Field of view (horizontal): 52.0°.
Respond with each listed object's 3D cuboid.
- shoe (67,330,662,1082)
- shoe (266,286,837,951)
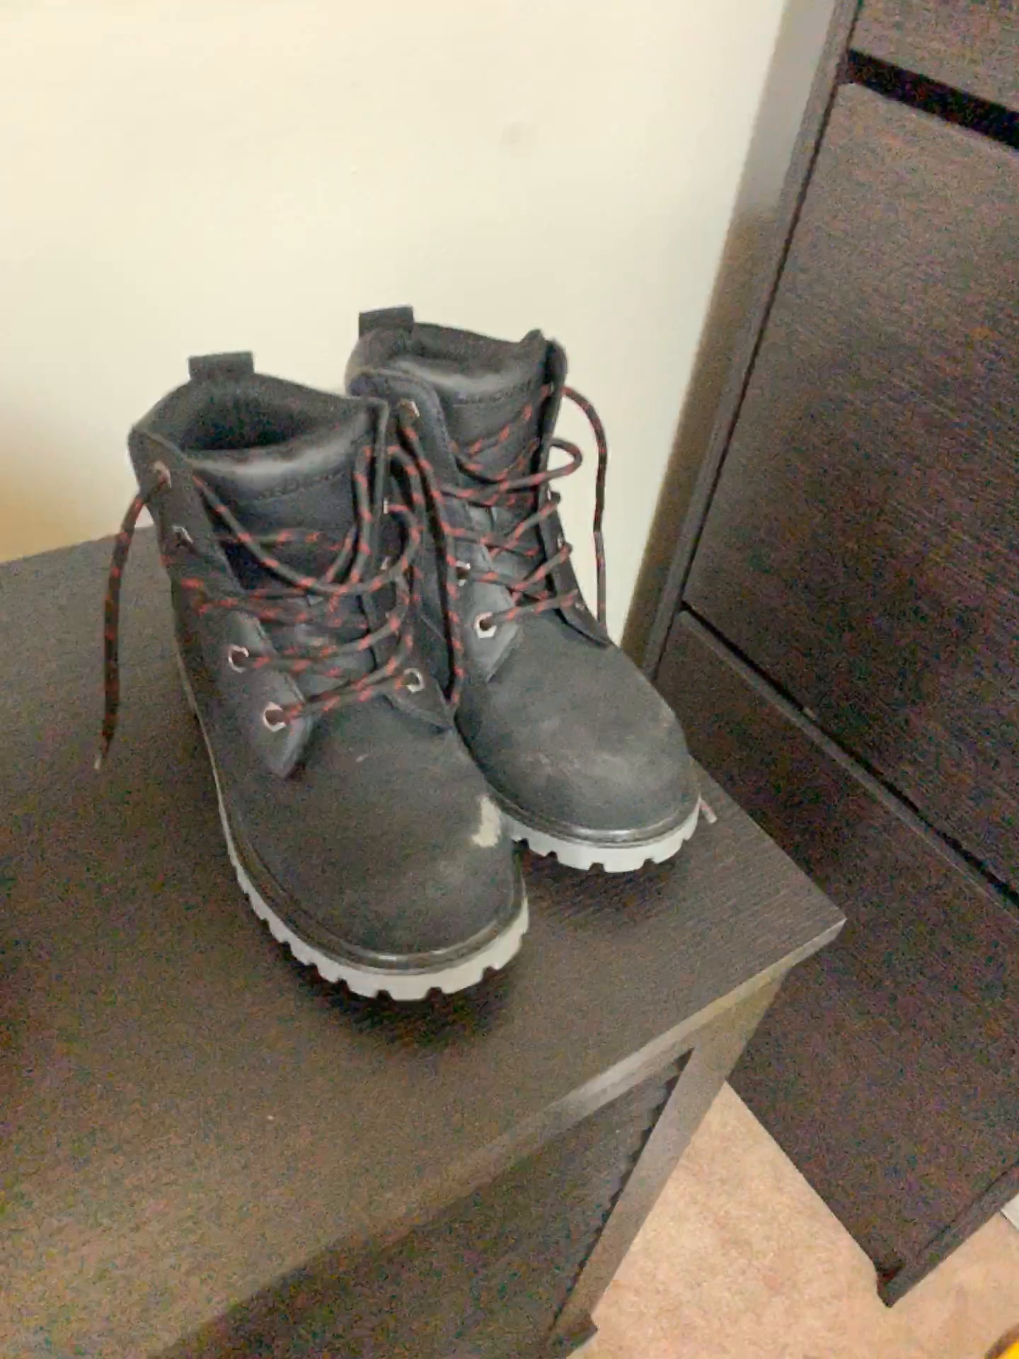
[{"bbox_3d":[-0.067,-0.003,0.393,0.100,0.158,0.221,-21,49,-28],"label":"shoe"},{"bbox_3d":[-0.004,-0.038,0.444,0.100,0.158,0.231,-21,49,-28],"label":"shoe"}]
